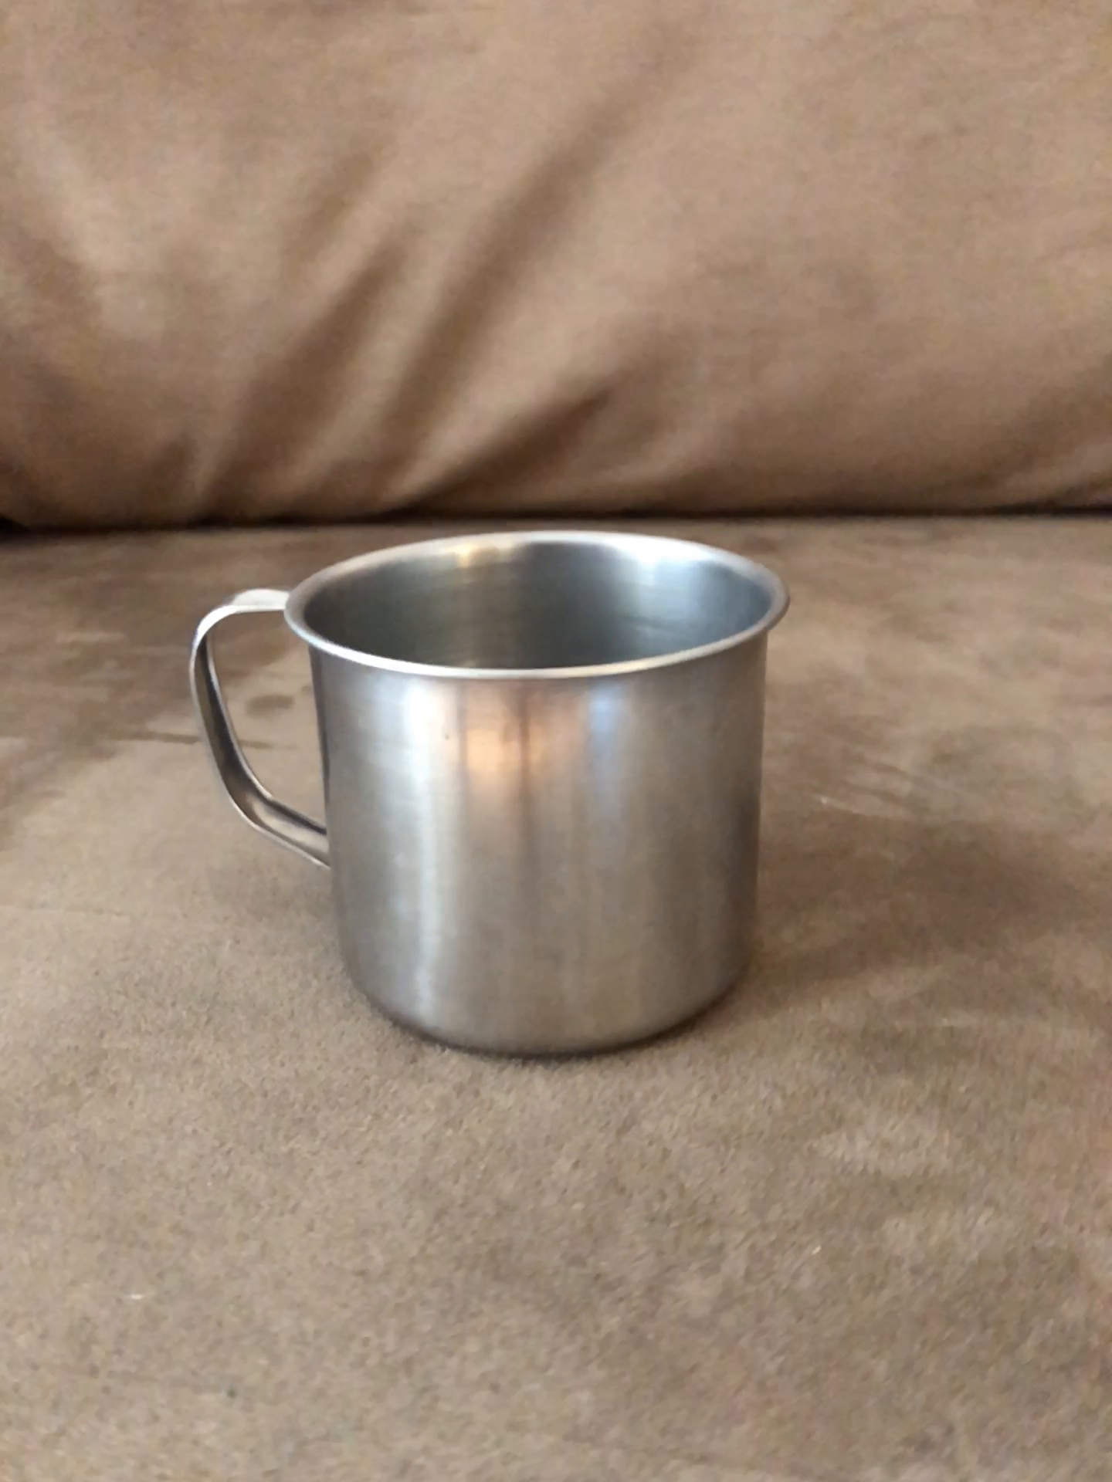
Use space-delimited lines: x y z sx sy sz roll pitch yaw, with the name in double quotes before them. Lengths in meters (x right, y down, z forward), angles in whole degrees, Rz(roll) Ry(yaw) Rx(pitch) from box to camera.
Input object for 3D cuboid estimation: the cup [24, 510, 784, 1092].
"cup" -0.016 0.002 0.229 0.110 0.070 0.091 2 22 10
